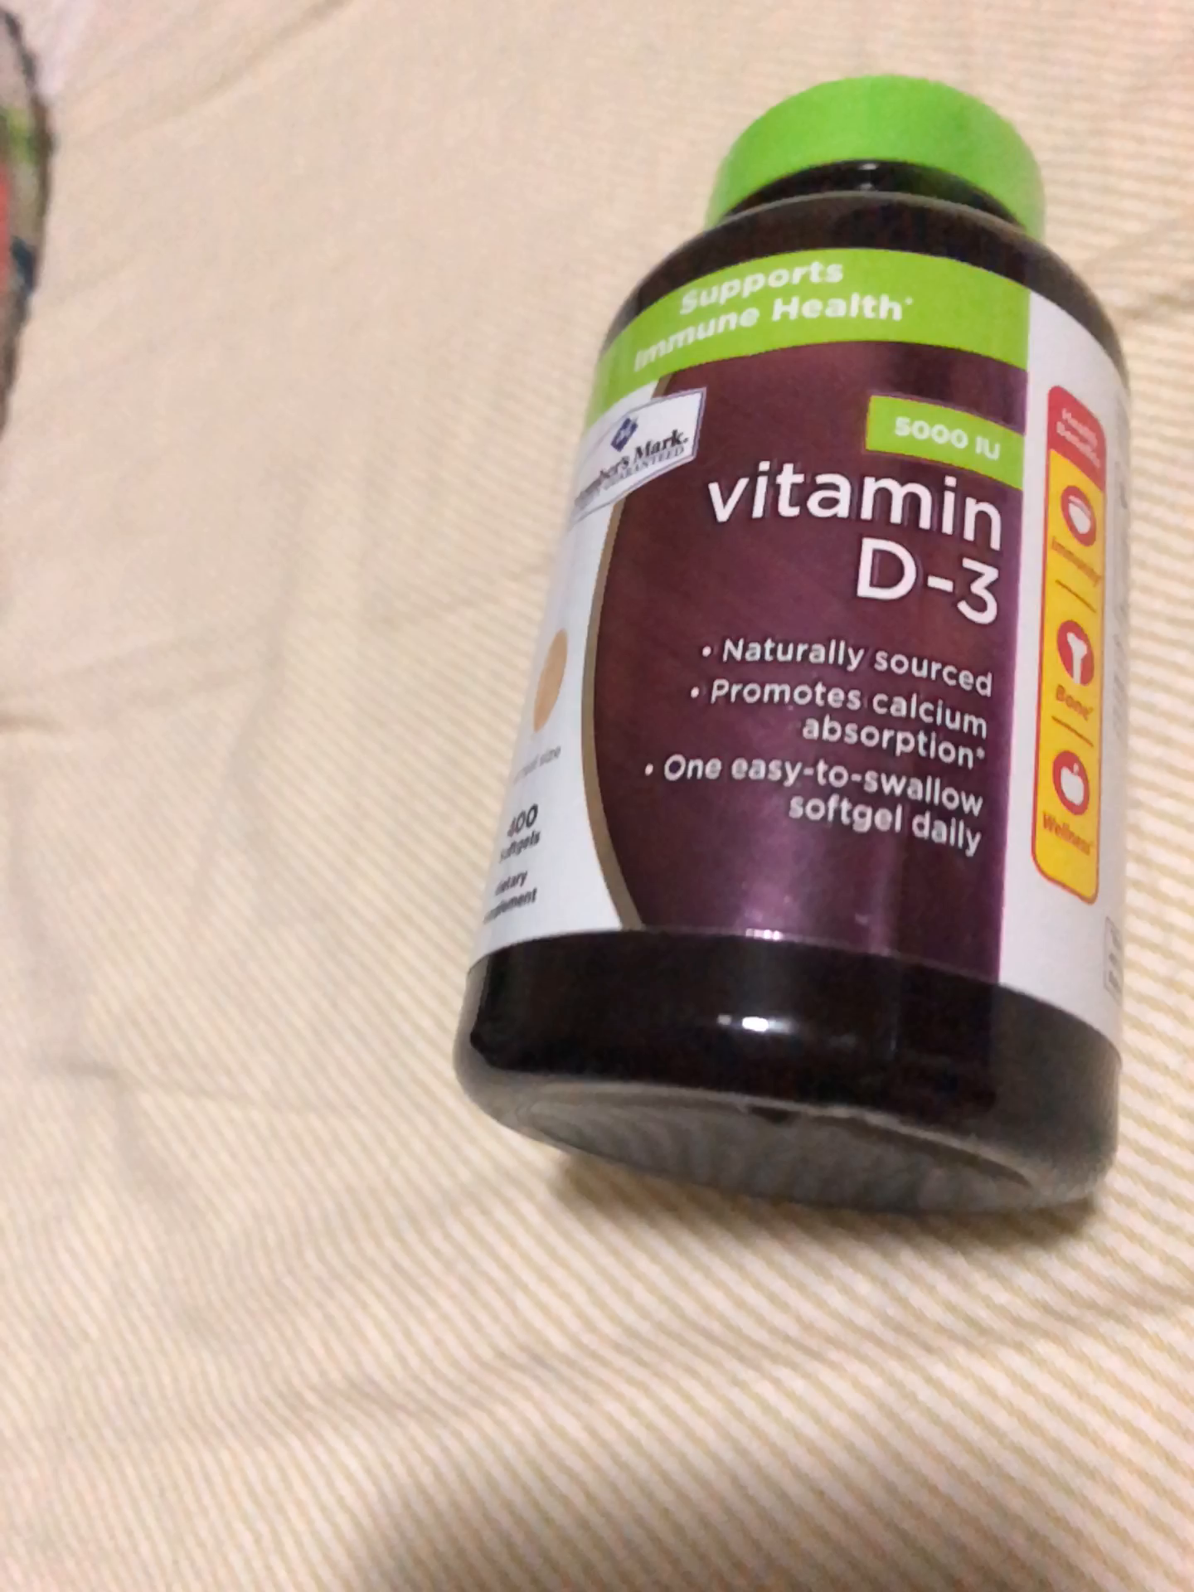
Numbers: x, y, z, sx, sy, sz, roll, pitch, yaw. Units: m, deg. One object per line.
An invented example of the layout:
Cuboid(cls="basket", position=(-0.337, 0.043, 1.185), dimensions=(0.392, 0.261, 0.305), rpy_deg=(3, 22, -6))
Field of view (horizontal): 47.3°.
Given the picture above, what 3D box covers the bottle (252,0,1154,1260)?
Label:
Cuboid(cls="bottle", position=(0.020, -0.017, 0.138), dimensions=(0.060, 0.060, 0.110), rpy_deg=(-3, 64, 26))
